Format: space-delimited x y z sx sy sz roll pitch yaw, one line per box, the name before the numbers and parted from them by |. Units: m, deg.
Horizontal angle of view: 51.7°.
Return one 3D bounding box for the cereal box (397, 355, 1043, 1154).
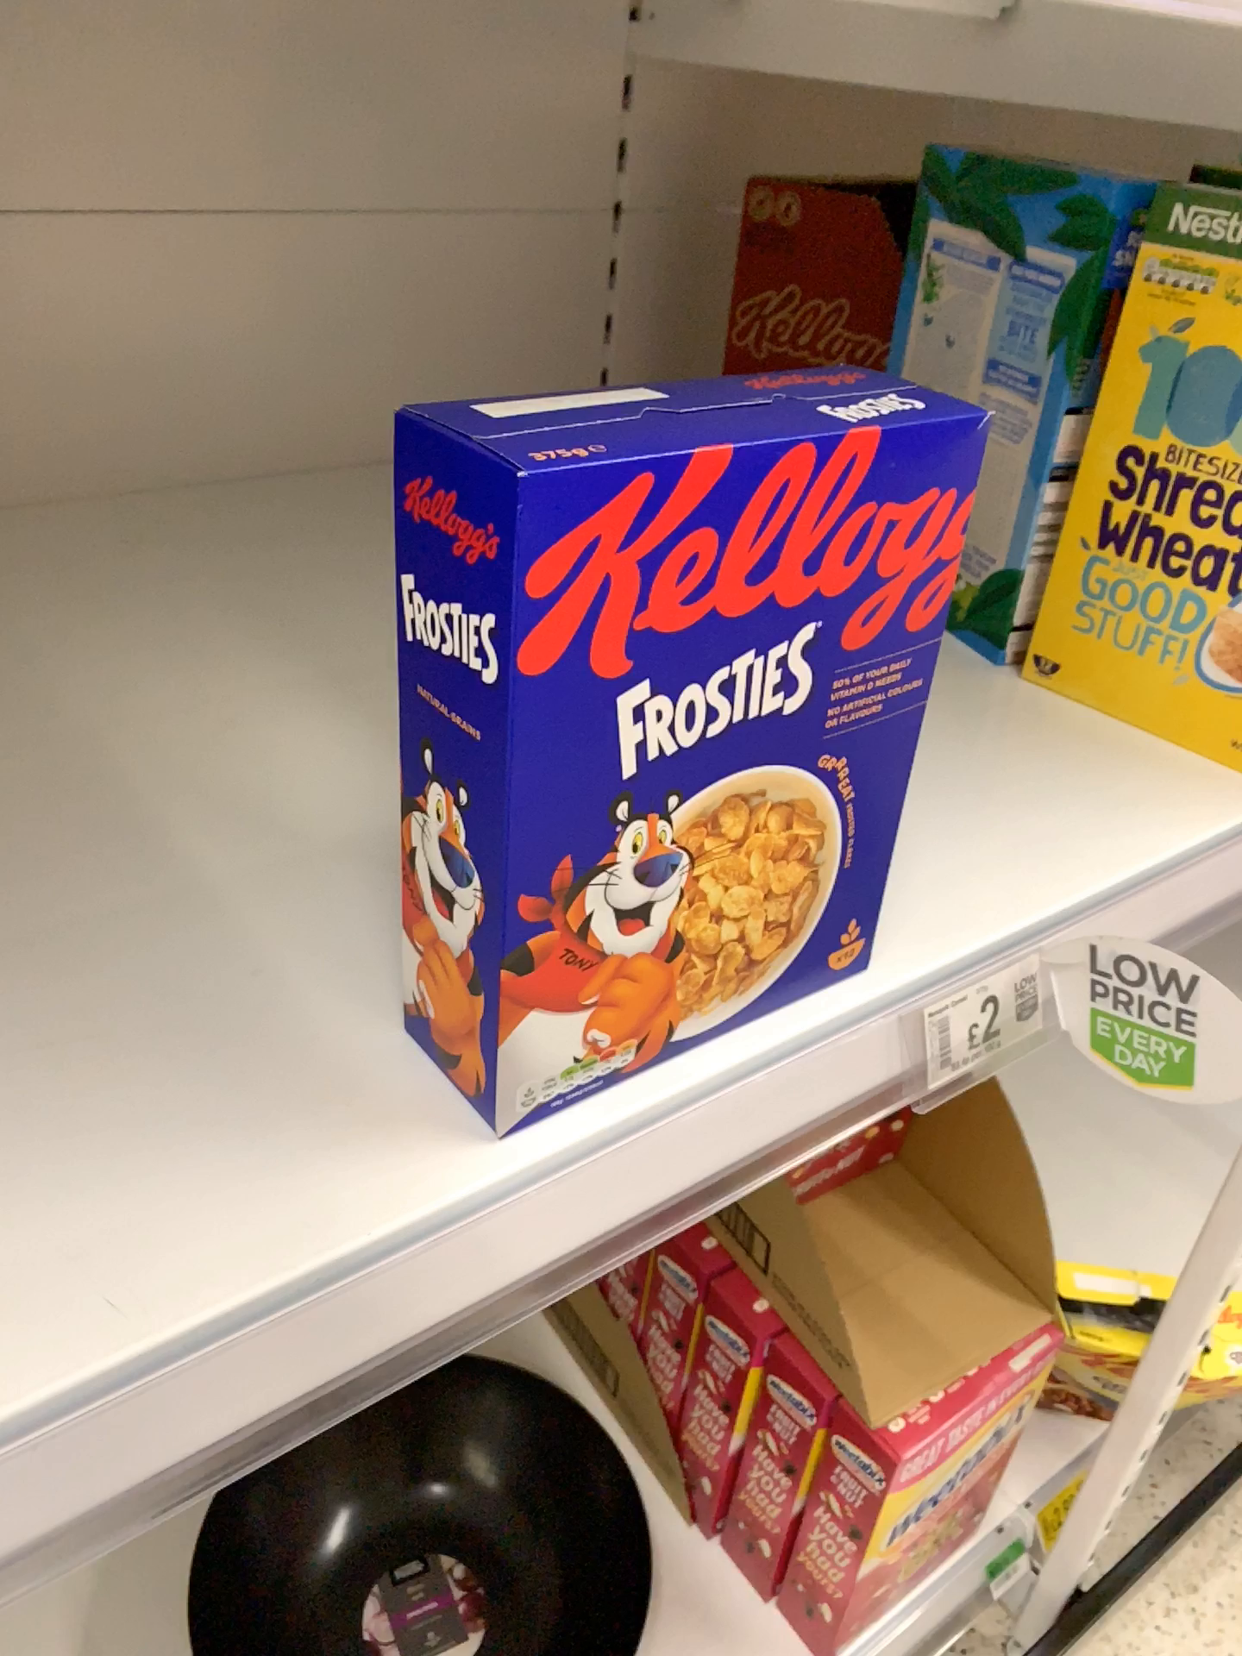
cereal box | 0.028 -0.033 0.464 0.201 0.238 0.080 -18 39 -33
